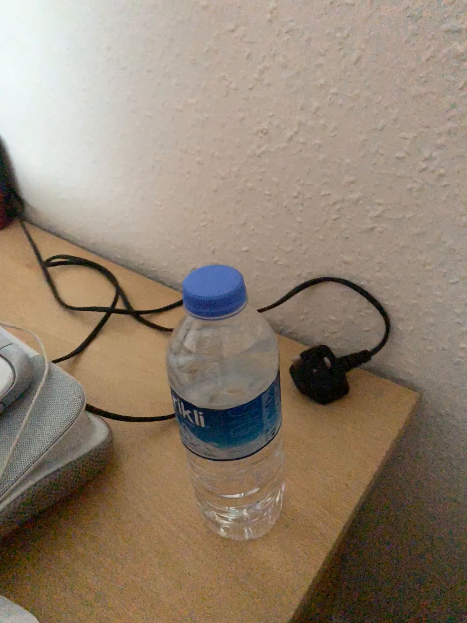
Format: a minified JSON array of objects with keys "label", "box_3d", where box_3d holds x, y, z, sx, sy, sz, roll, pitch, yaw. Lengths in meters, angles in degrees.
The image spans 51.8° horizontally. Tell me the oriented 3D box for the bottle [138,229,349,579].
[{"label":"bottle","box_3d":[0.005,0.060,0.279,0.070,0.188,0.071,-1,37,1]}]
